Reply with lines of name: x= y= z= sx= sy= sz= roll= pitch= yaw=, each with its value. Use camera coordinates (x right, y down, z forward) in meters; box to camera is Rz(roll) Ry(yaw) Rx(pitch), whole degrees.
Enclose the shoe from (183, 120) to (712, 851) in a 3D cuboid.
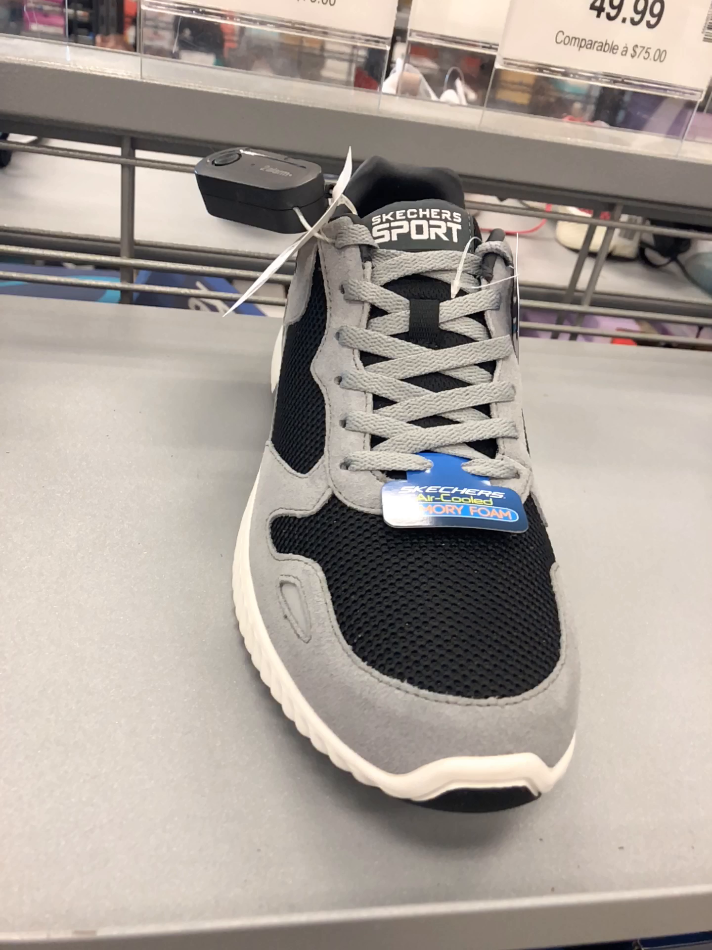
shoe: x=0.013 y=-0.033 z=0.310 sx=0.120 sy=0.119 sz=0.302 roll=6 pitch=35 yaw=-9
